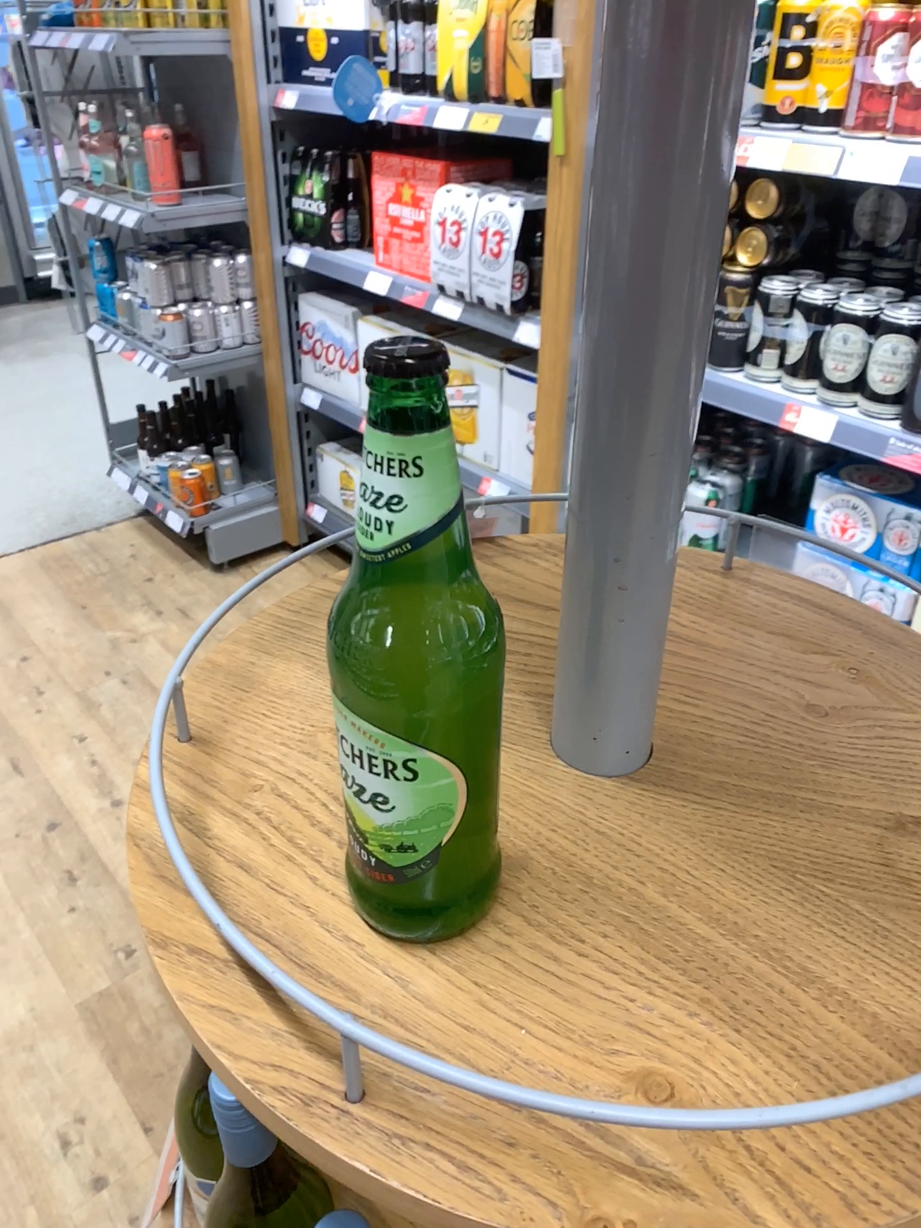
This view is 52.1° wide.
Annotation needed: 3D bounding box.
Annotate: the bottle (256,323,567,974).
[{"bbox_3d":[-0.018,0.021,0.370,0.078,0.240,0.070,-16,36,-25],"label":"bottle"}]
